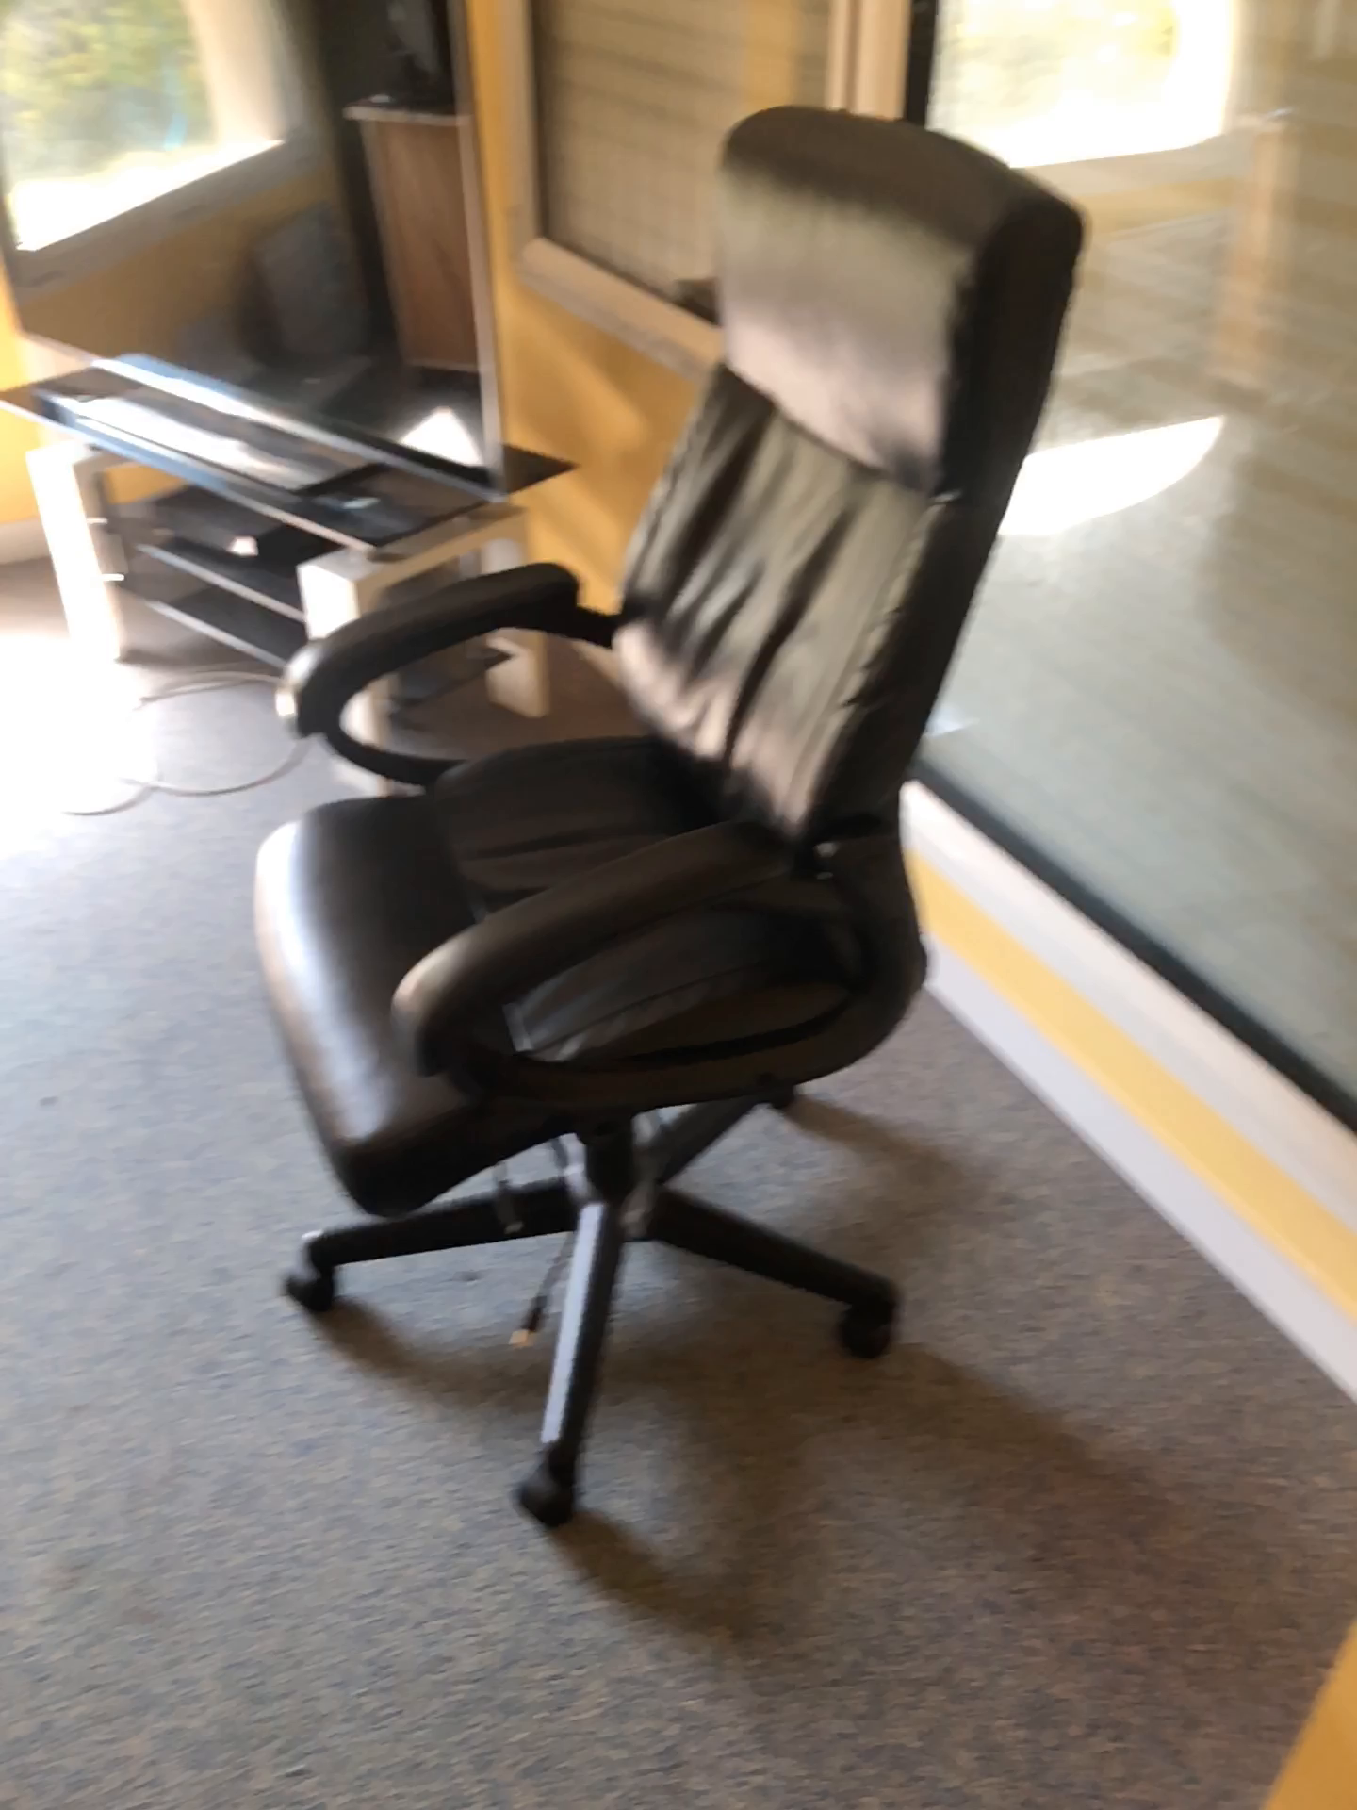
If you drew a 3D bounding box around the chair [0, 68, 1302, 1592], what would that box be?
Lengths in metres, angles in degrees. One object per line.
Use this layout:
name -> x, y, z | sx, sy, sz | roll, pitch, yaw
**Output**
chair -> -0.076, -0.095, 1.399 | 0.752, 1.113, 0.663 | -14, 38, -19
